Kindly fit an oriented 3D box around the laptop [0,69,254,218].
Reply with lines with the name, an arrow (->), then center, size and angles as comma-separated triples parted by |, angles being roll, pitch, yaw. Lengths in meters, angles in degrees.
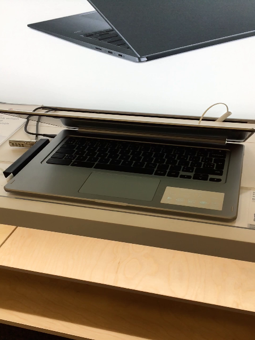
laptop -> 0.005, -0.059, 0.544 | 0.356, 0.140, 0.215 | 7, 38, 13
